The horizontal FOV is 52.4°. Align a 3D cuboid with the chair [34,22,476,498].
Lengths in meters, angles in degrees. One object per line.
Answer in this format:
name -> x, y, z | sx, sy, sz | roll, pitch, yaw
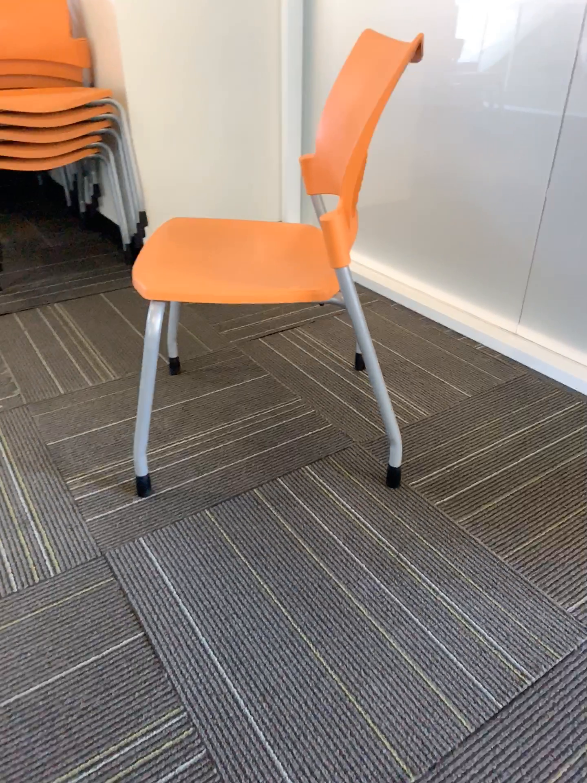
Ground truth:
chair -> -0.069, -0.327, 1.297 | 0.580, 0.805, 0.715 | -1, 32, -3
